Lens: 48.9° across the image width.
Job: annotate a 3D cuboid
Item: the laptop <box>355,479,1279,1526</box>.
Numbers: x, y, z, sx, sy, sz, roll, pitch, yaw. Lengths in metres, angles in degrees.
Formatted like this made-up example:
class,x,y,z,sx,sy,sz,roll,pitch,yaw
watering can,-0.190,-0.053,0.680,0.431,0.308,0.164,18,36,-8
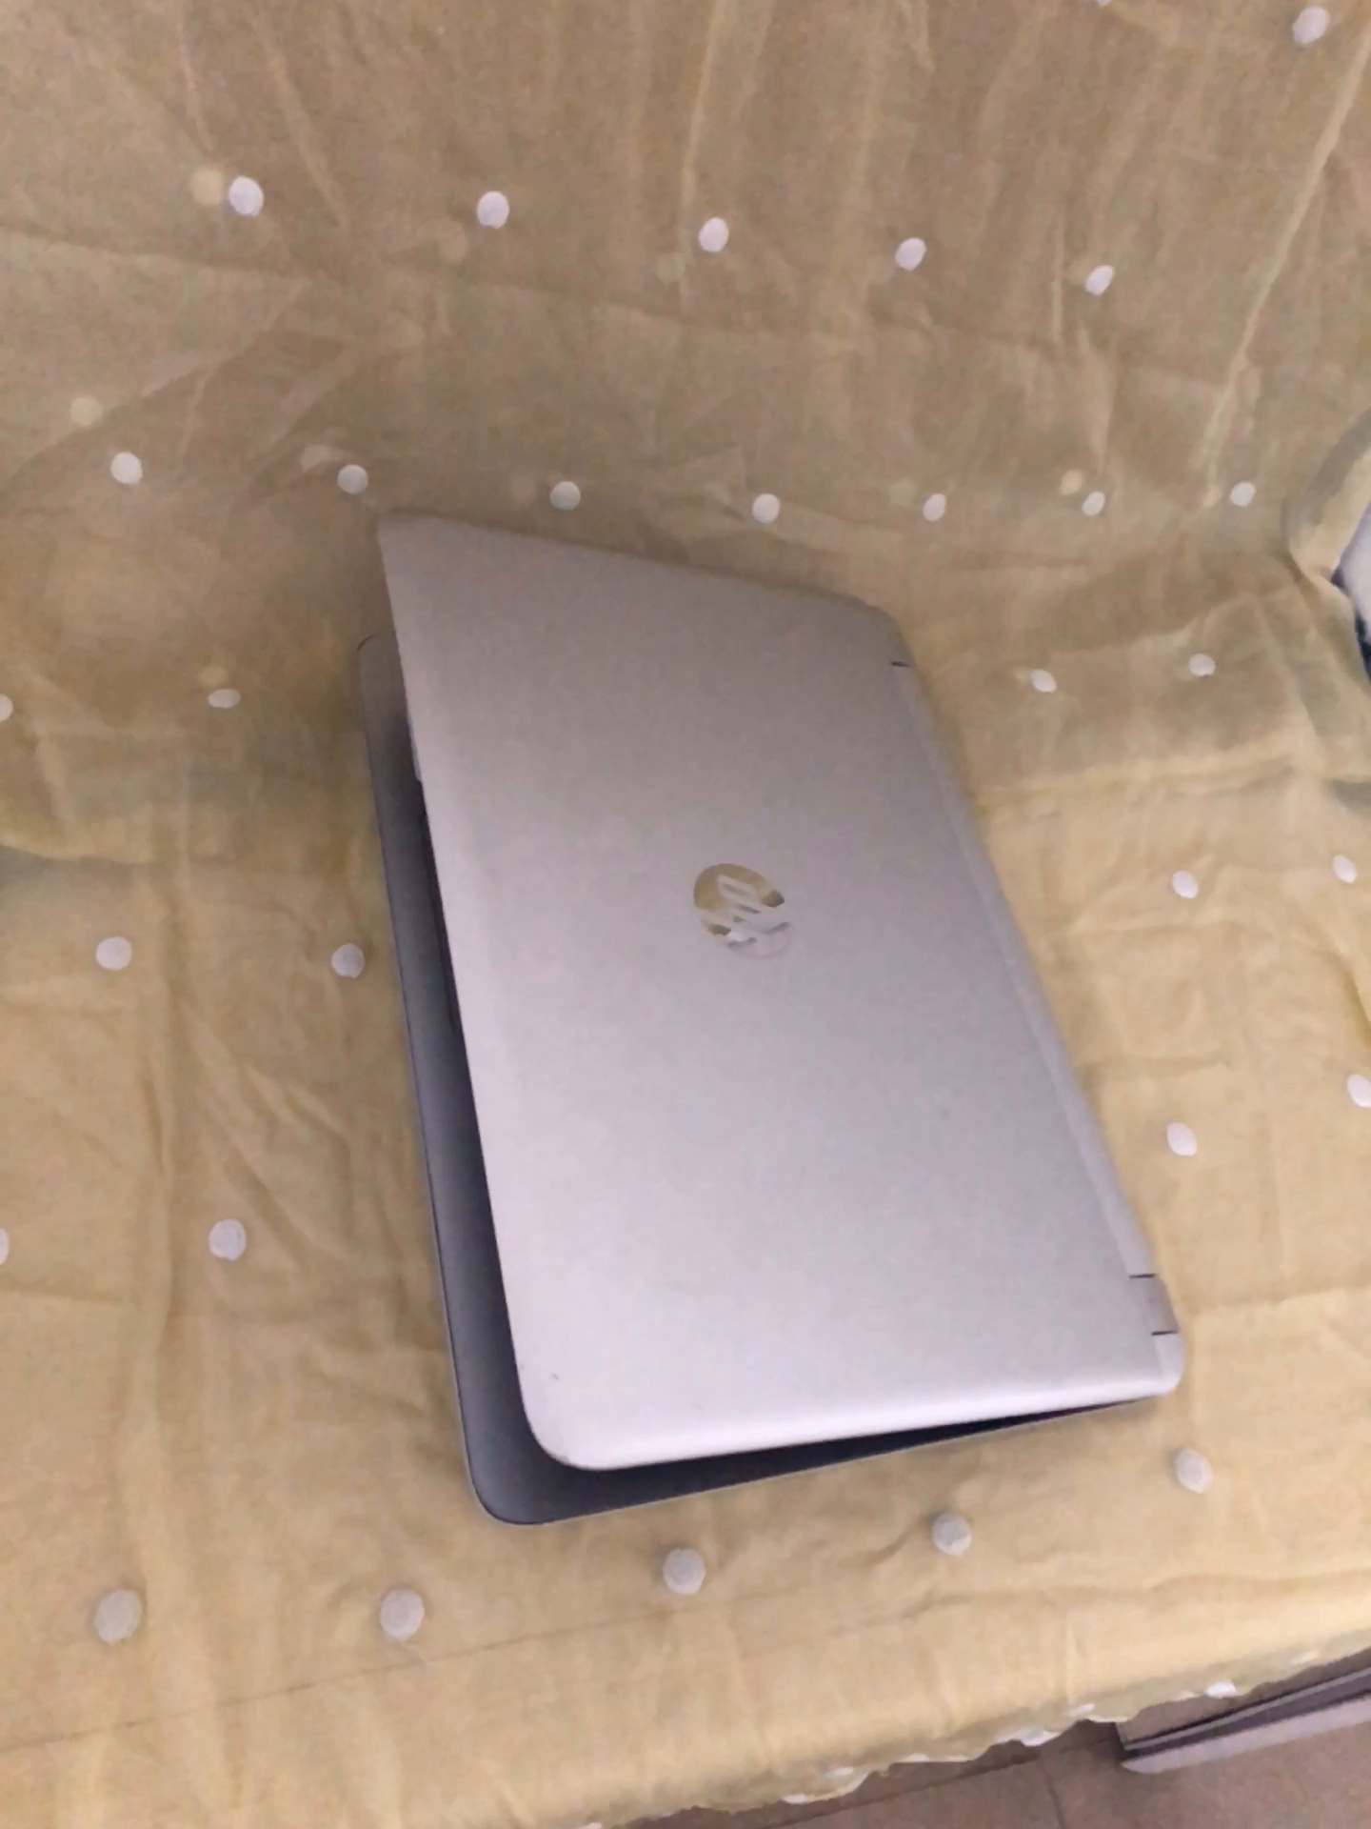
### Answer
class,x,y,z,sx,sy,sz,roll,pitch,yaw
laptop,0.022,-0.001,0.558,0.243,0.077,0.367,-6,59,-16
